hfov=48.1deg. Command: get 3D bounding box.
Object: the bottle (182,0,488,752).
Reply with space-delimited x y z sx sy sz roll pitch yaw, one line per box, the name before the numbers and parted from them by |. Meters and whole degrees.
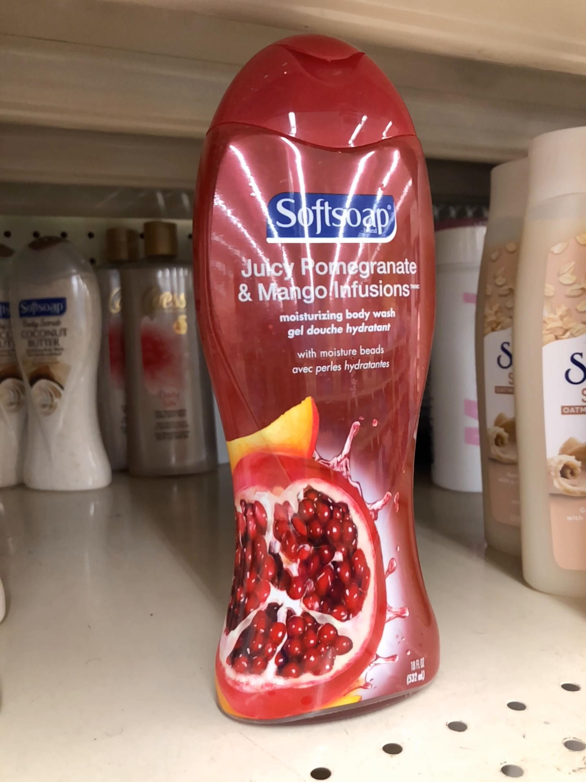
bottle | 0.012 -0.004 0.237 0.090 0.230 0.060 -3 7 -13
